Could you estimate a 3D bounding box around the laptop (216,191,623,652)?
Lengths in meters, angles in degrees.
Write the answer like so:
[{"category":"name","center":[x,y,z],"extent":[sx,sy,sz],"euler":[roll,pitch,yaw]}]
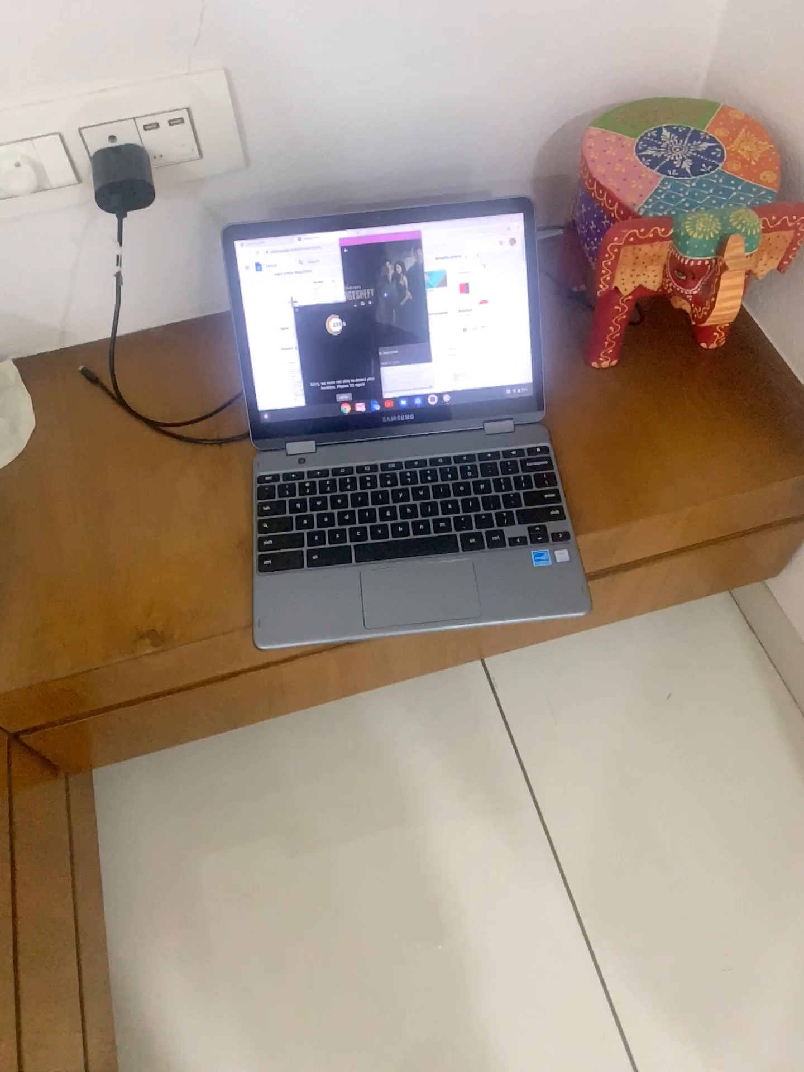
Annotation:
[{"category":"laptop","center":[0.000,-0.118,0.798],"extent":[0.314,0.164,0.384],"euler":[-6,60,0]}]
